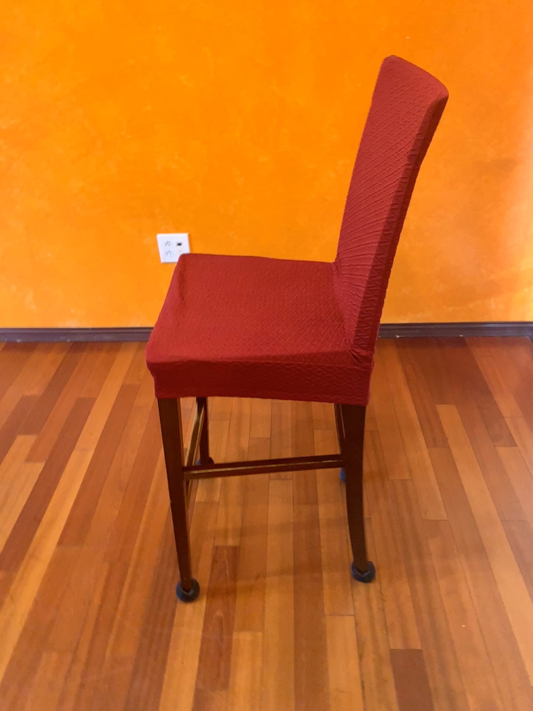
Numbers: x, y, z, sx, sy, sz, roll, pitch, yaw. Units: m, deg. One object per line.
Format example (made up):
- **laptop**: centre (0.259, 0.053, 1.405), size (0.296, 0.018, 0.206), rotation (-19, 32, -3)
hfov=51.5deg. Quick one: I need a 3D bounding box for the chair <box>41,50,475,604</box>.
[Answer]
- **chair**: centre (0.000, -0.011, 1.129), size (0.510, 1.026, 0.467), rotation (0, 34, 2)
